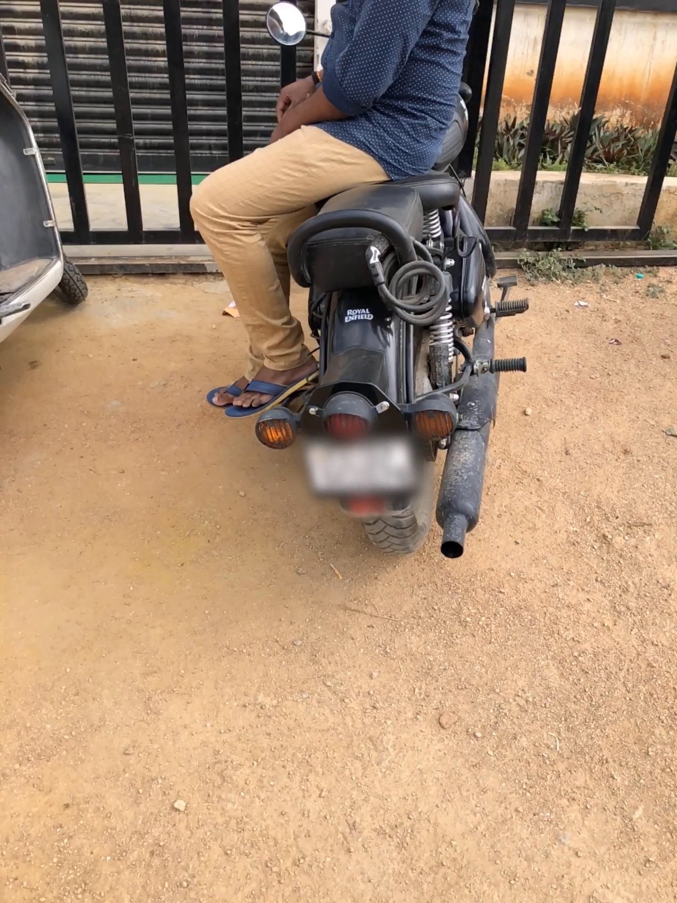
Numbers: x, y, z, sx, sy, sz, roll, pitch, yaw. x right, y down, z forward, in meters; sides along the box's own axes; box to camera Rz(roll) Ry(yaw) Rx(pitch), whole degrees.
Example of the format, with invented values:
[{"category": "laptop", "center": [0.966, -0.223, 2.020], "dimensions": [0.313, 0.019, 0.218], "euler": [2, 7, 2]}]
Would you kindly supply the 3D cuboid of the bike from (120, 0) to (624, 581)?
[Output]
[{"category": "bike", "center": [-0.006, -0.851, 2.066], "dimensions": [0.722, 1.169, 1.816], "euler": [2, 38, -1]}]
